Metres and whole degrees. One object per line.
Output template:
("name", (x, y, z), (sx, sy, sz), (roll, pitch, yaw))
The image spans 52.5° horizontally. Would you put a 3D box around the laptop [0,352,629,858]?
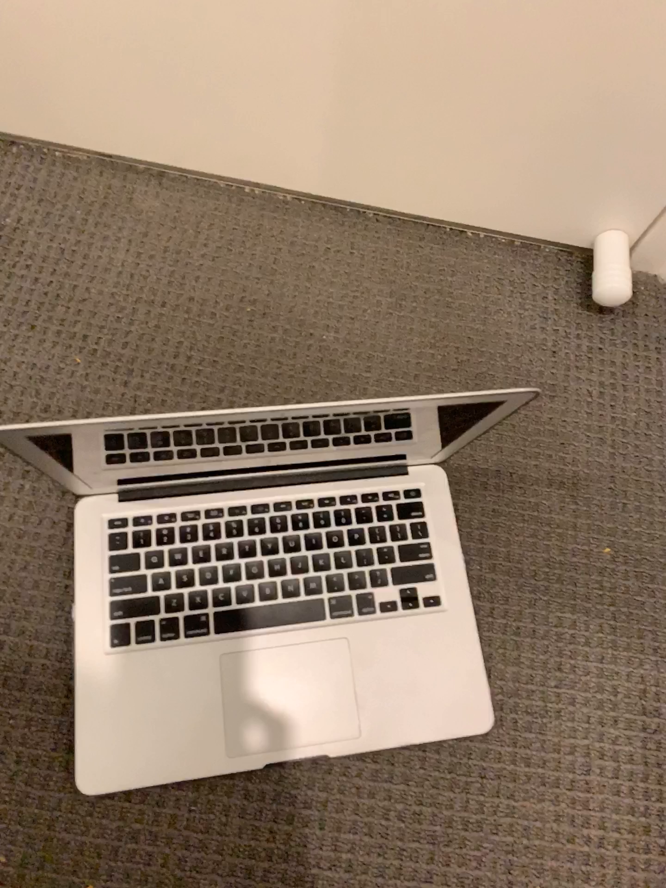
("laptop", (-0.033, 0.100, 0.460), (0.322, 0.215, 0.226), (-5, 70, -9))
